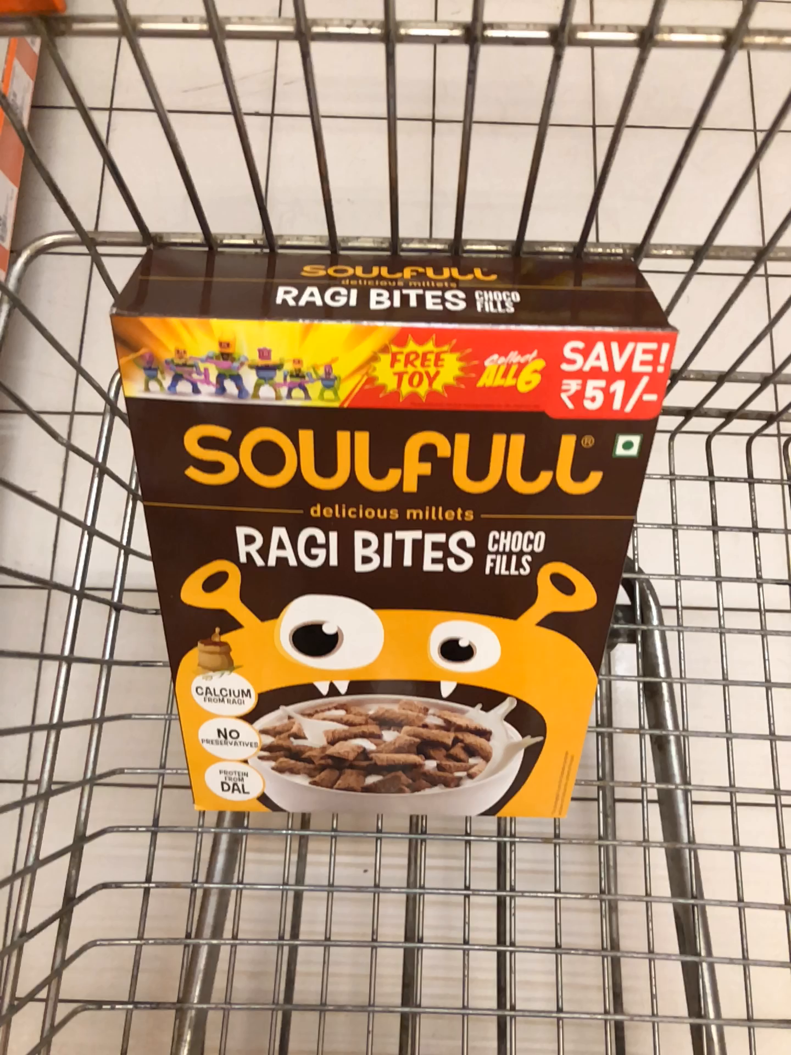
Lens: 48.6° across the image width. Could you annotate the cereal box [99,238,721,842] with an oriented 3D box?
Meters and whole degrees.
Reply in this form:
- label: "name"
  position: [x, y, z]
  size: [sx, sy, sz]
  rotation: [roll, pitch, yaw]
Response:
- label: "cereal box"
  position: [0.002, 0.022, 0.372]
  size: [0.190, 0.259, 0.070]
  rotation: [2, 36, 0]
